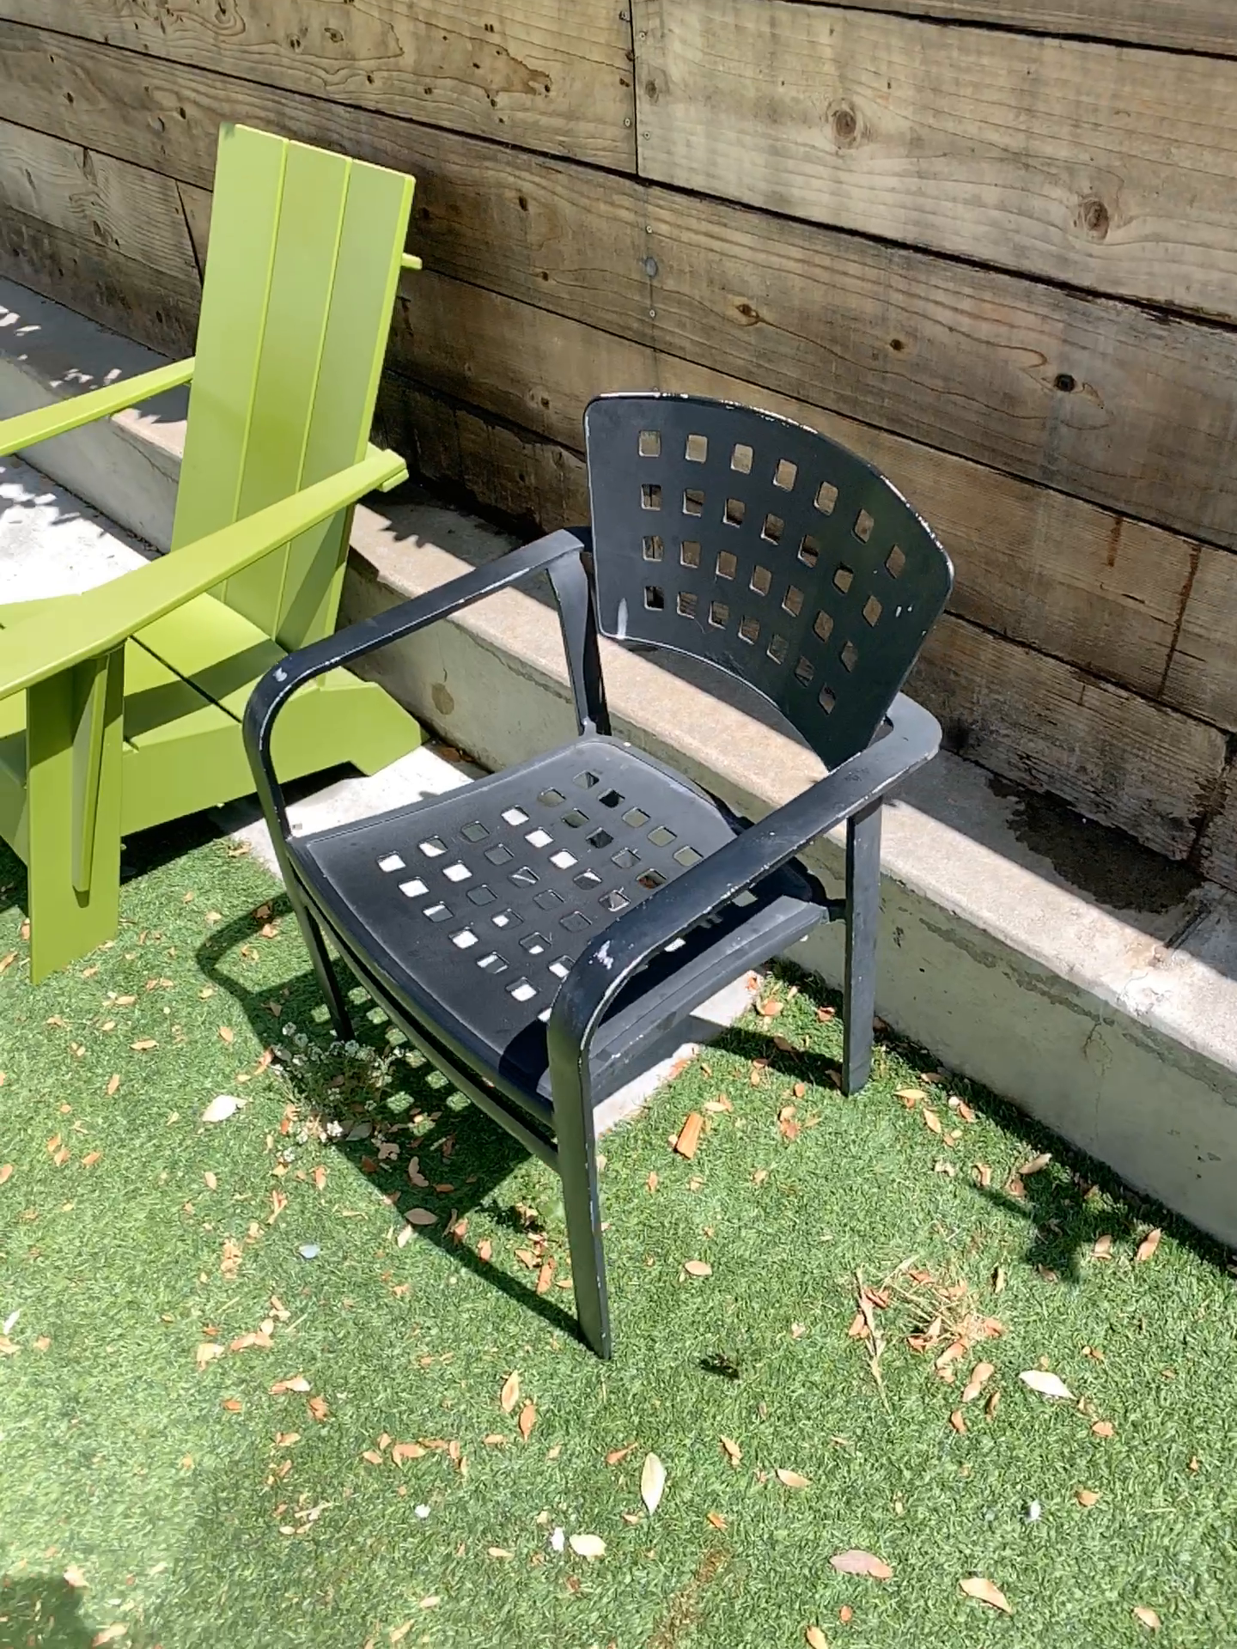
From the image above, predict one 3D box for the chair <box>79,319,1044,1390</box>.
[{"bbox_3d":[-0.043,0.013,1.253,0.521,0.716,0.593,-33,50,-26],"label":"chair"}]
